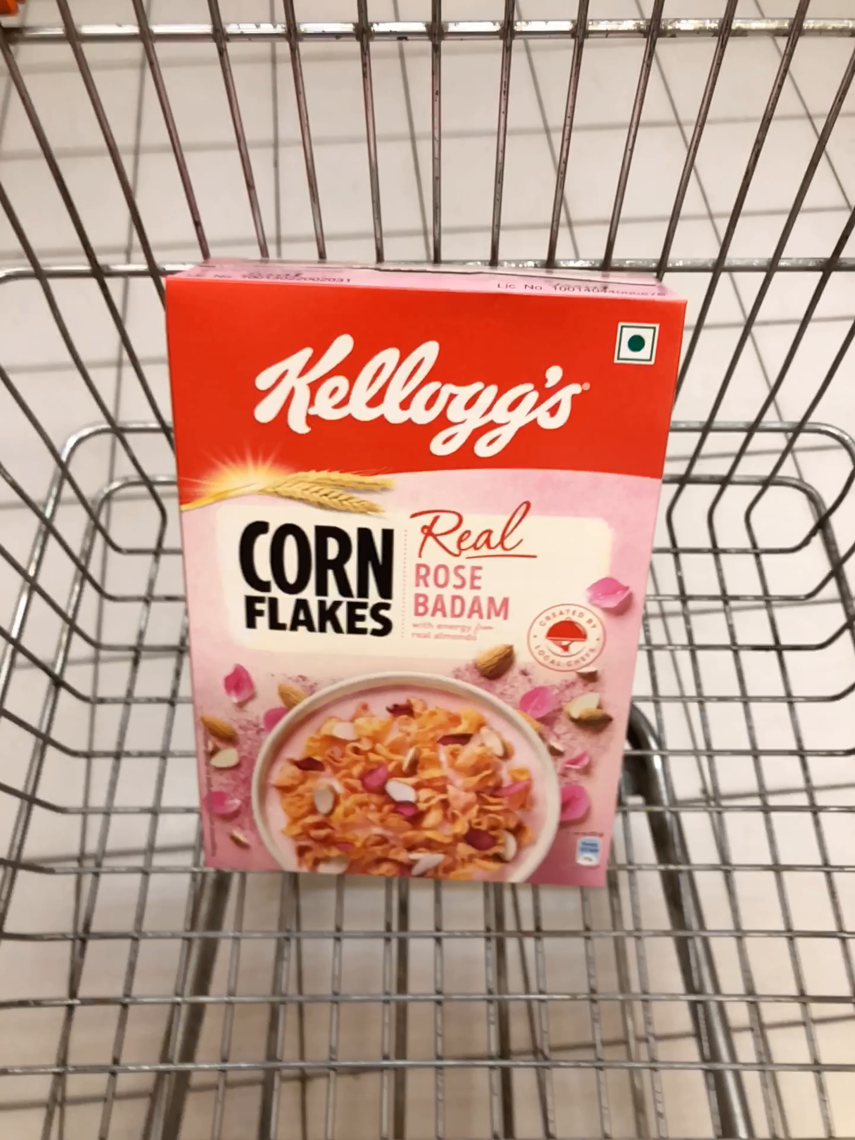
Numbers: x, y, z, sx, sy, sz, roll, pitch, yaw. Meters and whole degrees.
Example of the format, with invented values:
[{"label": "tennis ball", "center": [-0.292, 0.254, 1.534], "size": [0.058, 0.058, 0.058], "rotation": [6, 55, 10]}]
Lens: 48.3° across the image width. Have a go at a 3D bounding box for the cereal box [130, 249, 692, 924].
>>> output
[{"label": "cereal box", "center": [-0.009, 0.012, 0.393], "size": [0.180, 0.259, 0.080], "rotation": [3, 23, 1]}]
